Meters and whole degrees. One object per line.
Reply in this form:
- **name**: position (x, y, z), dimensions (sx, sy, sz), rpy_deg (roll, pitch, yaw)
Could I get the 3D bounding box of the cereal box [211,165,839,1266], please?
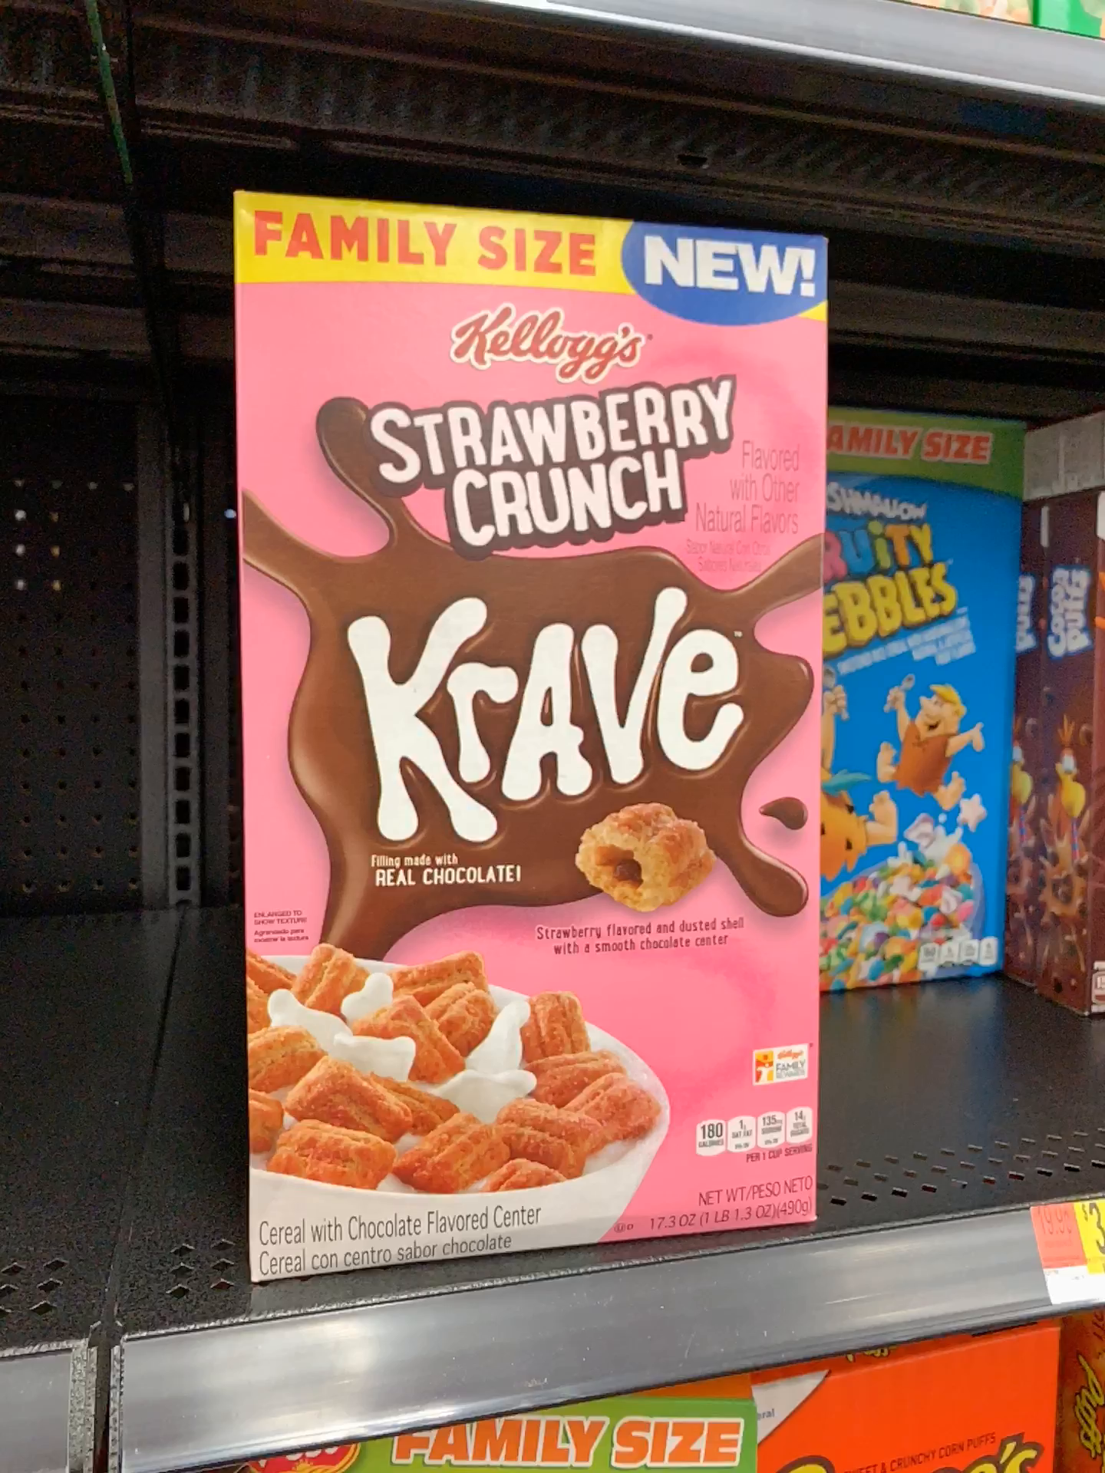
- **cereal box**: position (-0.010, -0.006, 0.394), dimensions (0.200, 0.330, 0.060), rpy_deg (0, 2, -12)
